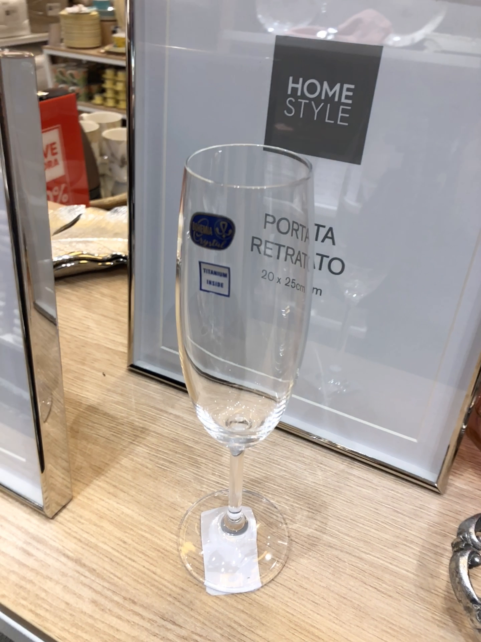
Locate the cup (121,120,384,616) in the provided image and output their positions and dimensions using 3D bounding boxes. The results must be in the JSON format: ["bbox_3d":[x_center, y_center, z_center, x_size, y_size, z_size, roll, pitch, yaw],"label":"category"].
[{"bbox_3d":[0.004,0.033,0.248,0.070,0.218,0.070,2,34,-1],"label":"cup"}]
